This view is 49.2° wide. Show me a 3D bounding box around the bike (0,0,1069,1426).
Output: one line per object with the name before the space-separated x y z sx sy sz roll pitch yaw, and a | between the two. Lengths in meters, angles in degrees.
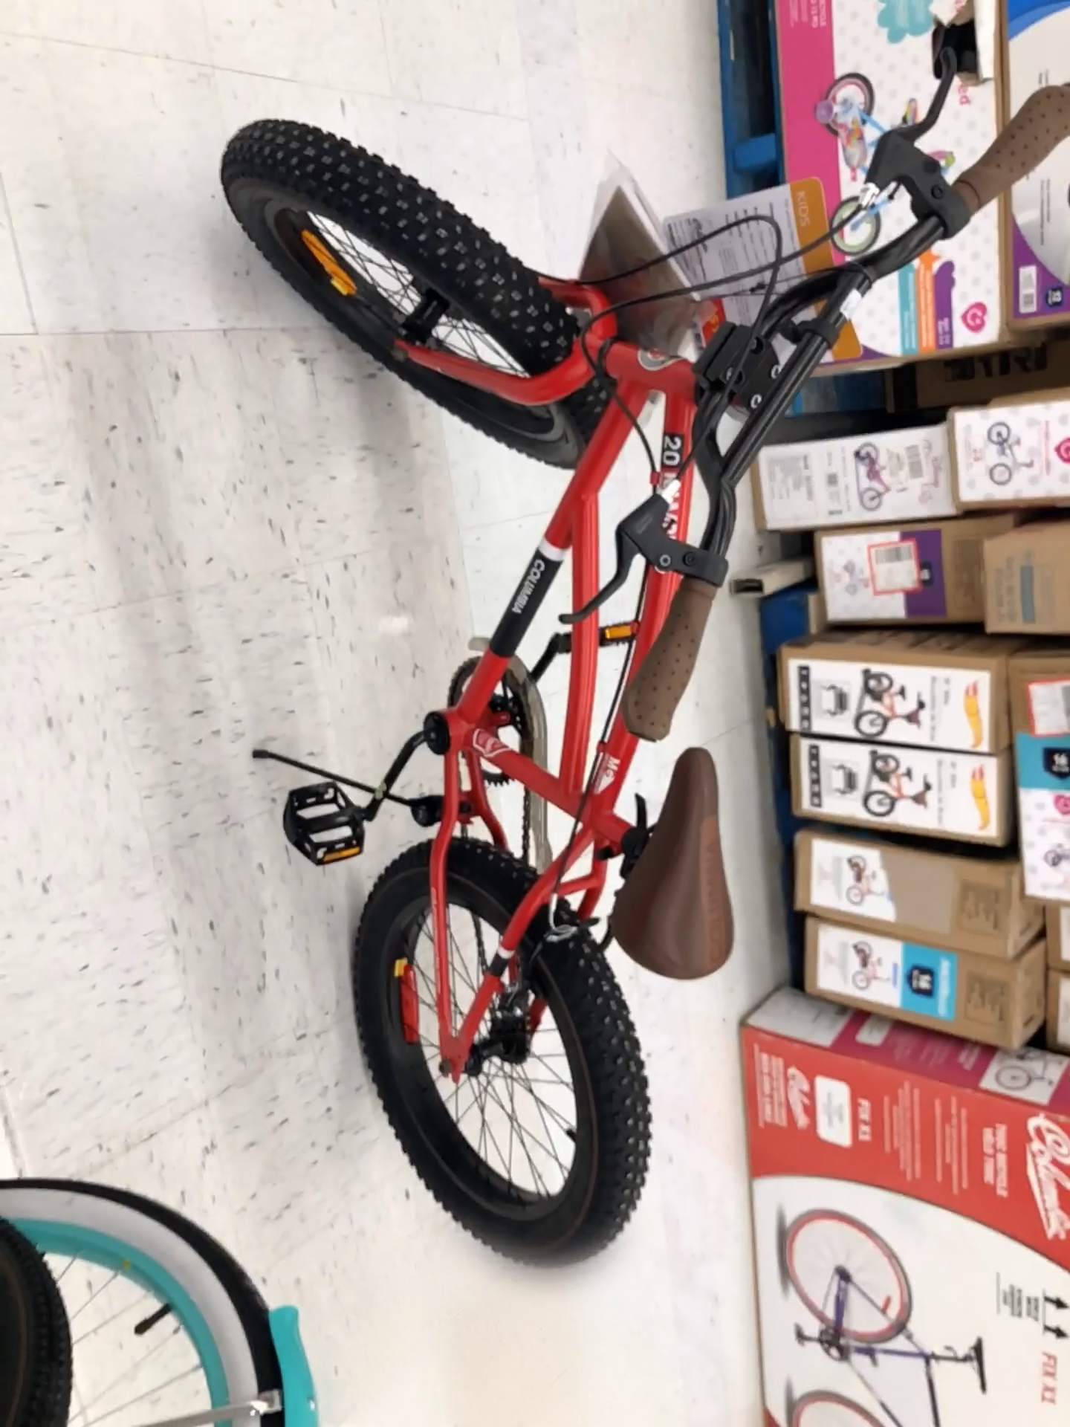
bike | -0.028 0.051 1.284 0.611 0.967 1.357 -24 108 -47
